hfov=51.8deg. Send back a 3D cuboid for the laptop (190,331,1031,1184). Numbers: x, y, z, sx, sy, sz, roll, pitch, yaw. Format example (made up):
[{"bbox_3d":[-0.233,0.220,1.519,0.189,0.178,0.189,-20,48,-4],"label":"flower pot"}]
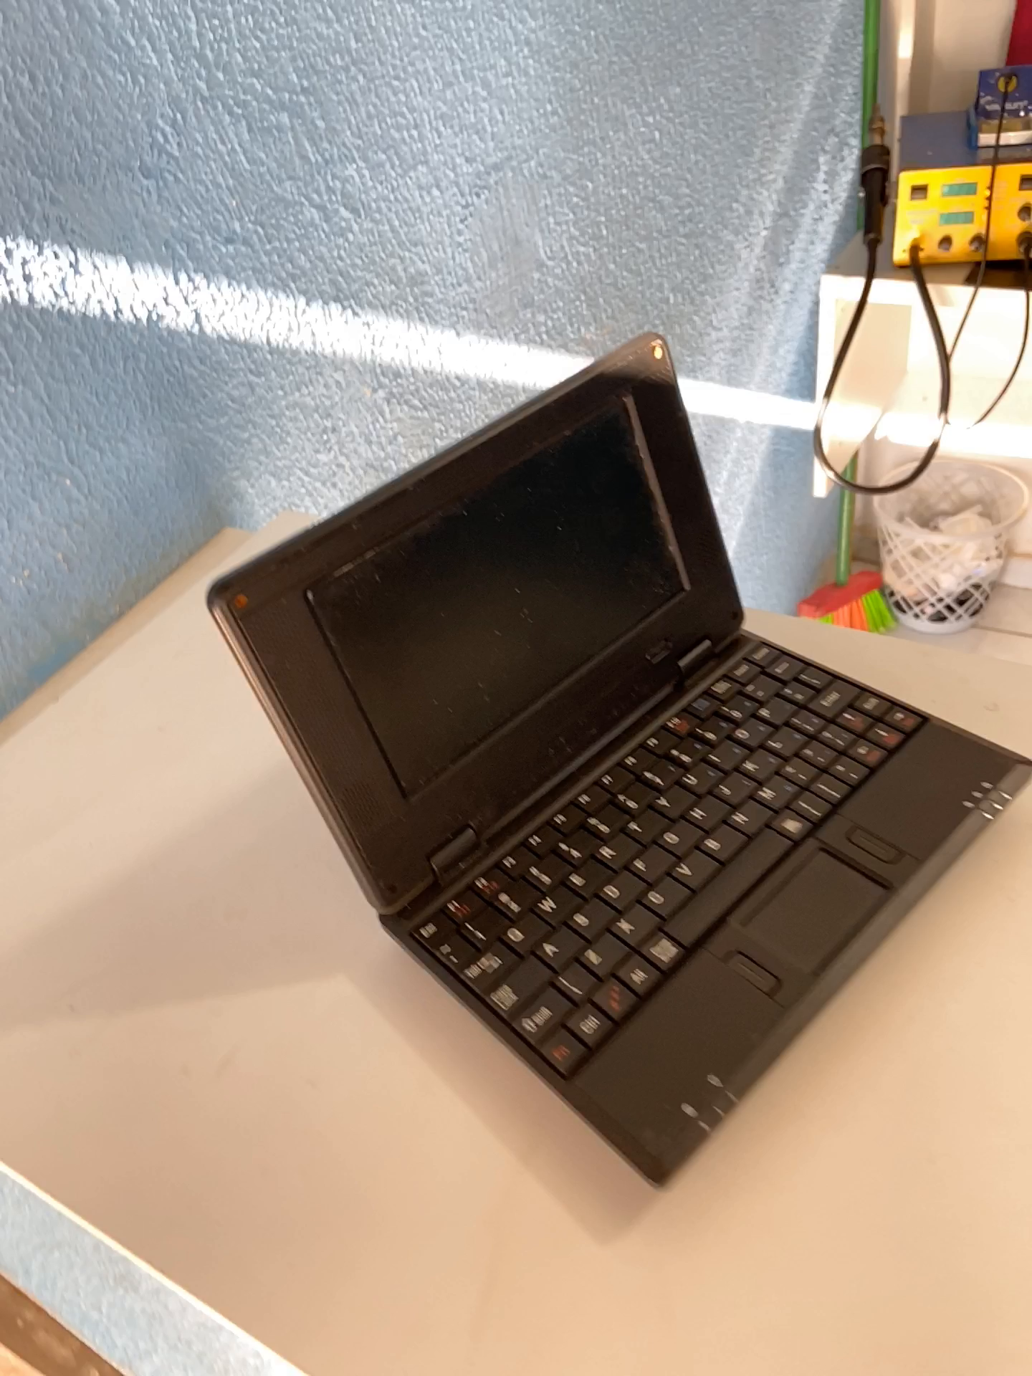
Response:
[{"bbox_3d":[0.048,0.001,0.370,0.217,0.137,0.179,-36,46,-26],"label":"laptop"}]
